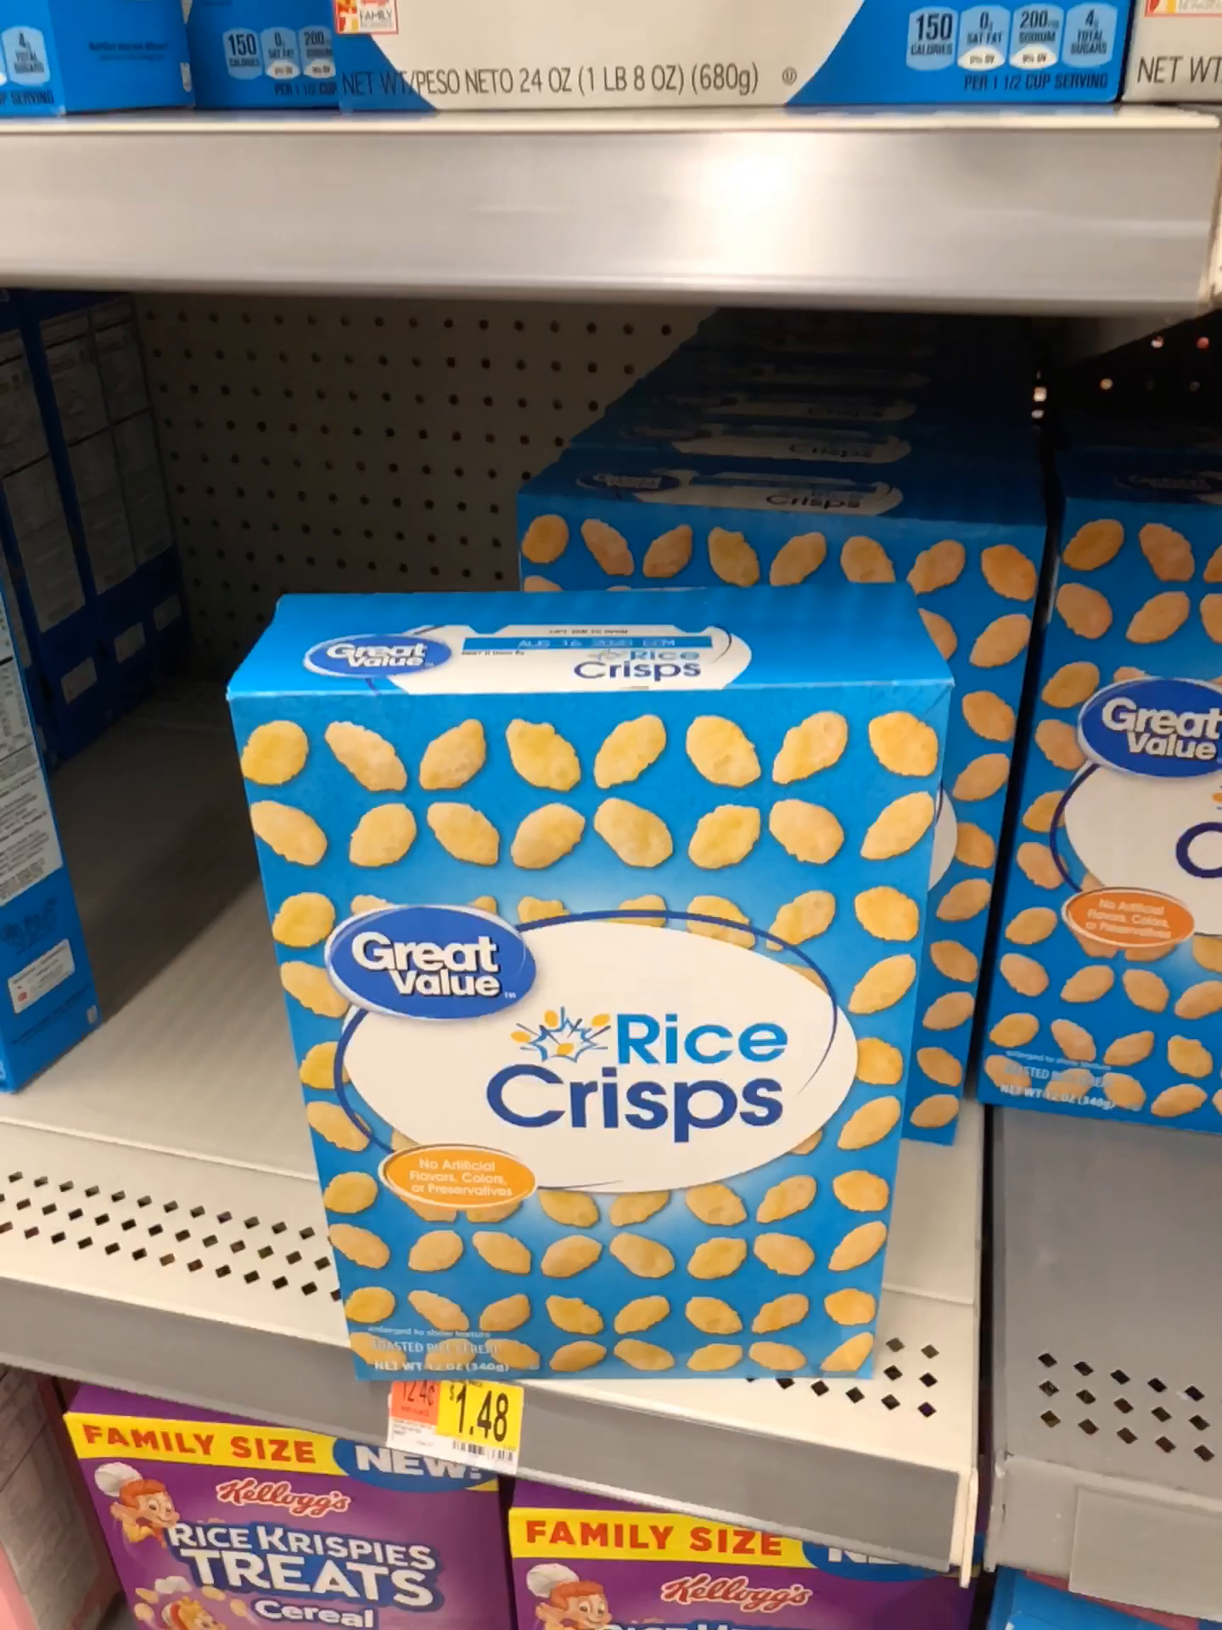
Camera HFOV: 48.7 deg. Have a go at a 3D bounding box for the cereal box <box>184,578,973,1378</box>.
[{"bbox_3d":[-0.004,0.066,0.442,0.200,0.269,0.070,-1,31,2],"label":"cereal box"}]
